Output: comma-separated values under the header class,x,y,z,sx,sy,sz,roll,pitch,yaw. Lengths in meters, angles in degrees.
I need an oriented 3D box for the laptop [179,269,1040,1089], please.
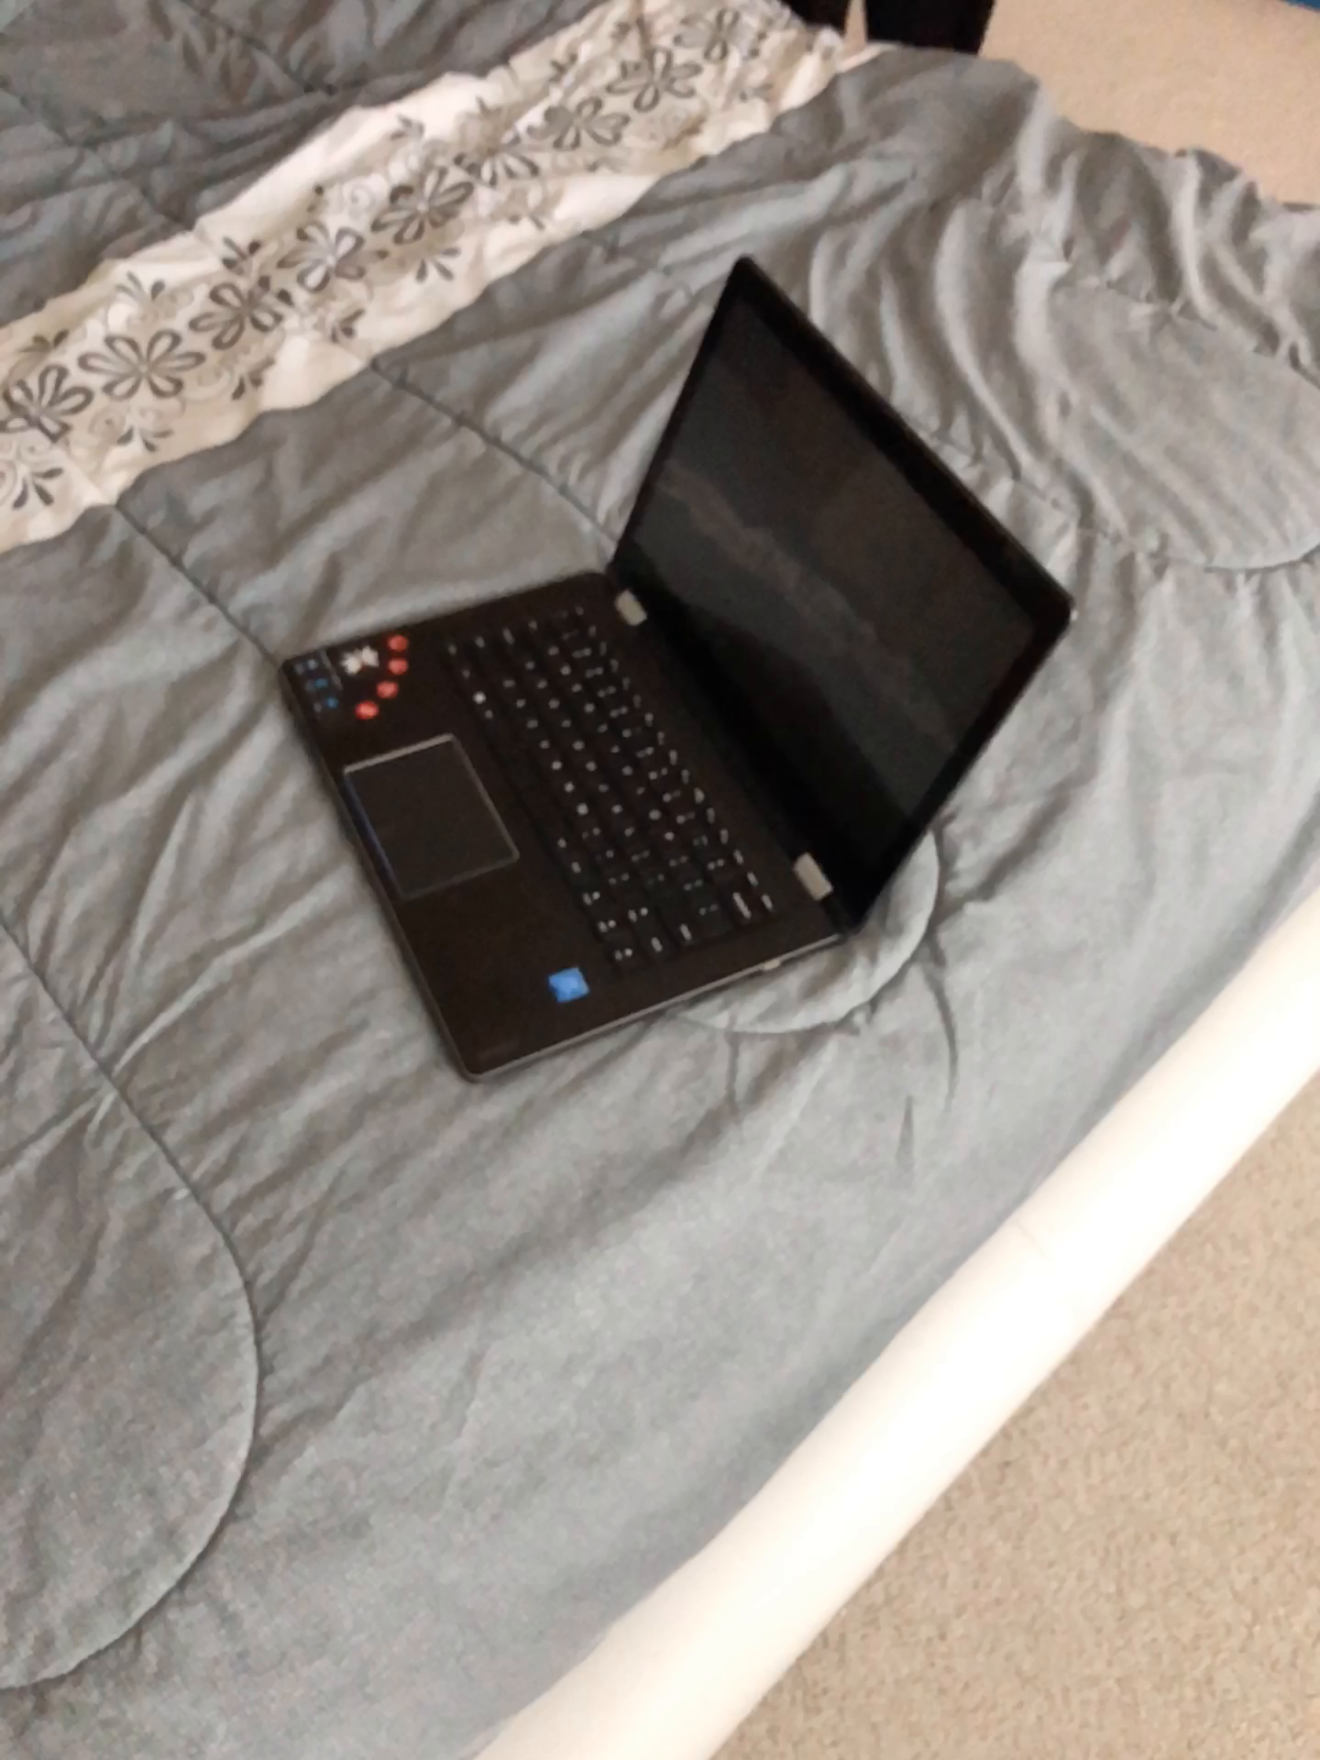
class,x,y,z,sx,sy,sz,roll,pitch,yaw
laptop,-0.036,-0.136,0.890,0.351,0.214,0.362,-21,57,-15
